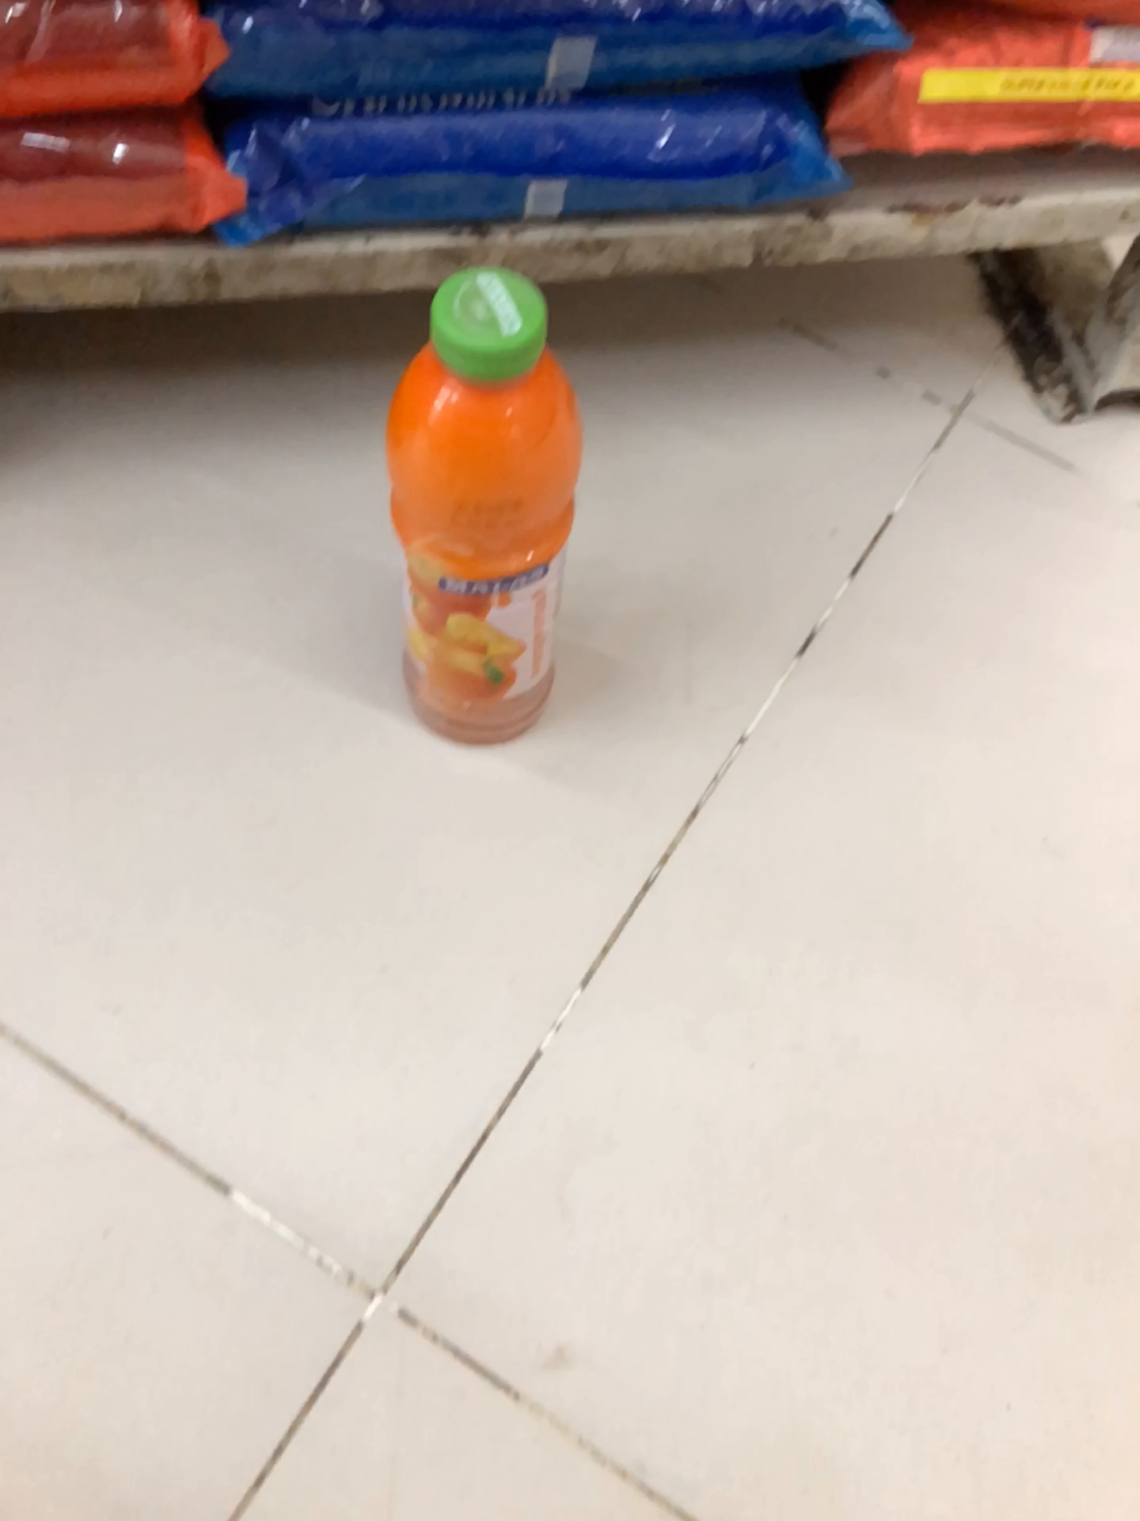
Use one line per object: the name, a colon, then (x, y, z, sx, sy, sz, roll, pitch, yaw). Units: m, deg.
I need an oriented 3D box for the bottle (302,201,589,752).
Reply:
bottle: (-0.049, -0.100, 0.531, 0.090, 0.239, 0.090, 2, 63, -4)
